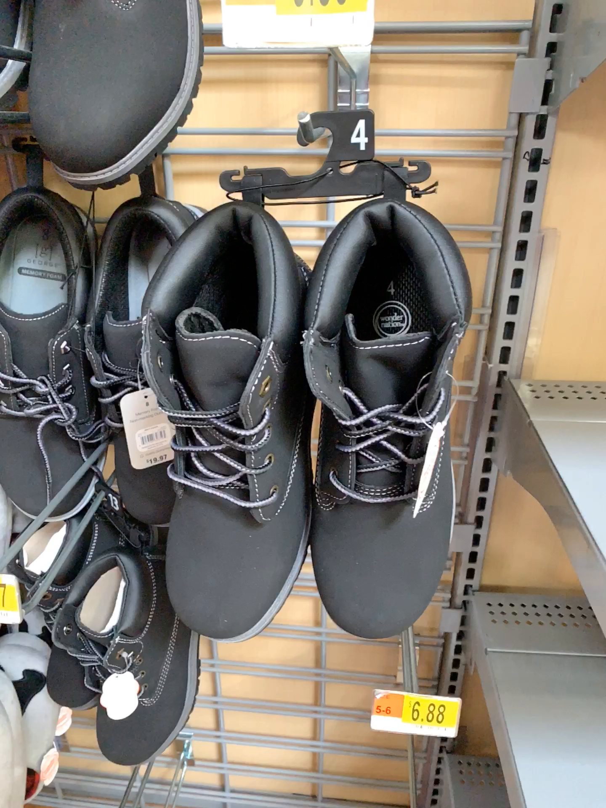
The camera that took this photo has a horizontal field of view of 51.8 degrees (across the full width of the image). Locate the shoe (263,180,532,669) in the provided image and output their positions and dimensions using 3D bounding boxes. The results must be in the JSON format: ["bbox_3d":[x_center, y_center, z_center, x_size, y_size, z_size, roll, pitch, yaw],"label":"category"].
[{"bbox_3d":[0.044,0.003,0.327,0.100,0.206,0.120,4,9,7],"label":"shoe"}]

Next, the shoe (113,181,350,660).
[{"bbox_3d":[-0.036,0.004,0.359,0.100,0.229,0.110,5,9,7],"label":"shoe"}]
